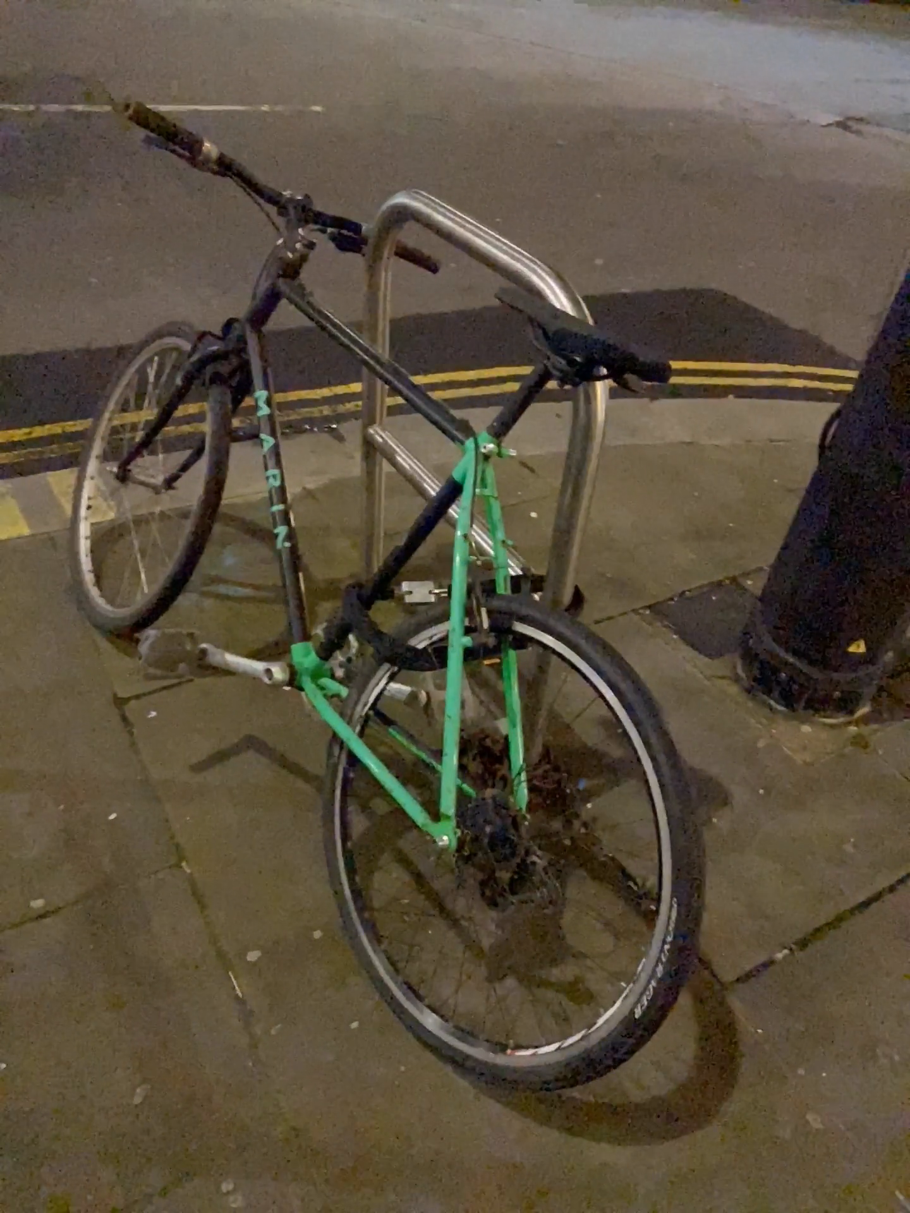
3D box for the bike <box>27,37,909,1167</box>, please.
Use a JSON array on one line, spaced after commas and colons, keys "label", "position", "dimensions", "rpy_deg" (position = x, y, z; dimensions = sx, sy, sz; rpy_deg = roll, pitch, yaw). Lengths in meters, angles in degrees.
[{"label": "bike", "position": [-0.036, -0.228, 1.582], "dimensions": [0.640, 1.014, 1.691], "rpy_deg": [-22, 46, -30]}]
